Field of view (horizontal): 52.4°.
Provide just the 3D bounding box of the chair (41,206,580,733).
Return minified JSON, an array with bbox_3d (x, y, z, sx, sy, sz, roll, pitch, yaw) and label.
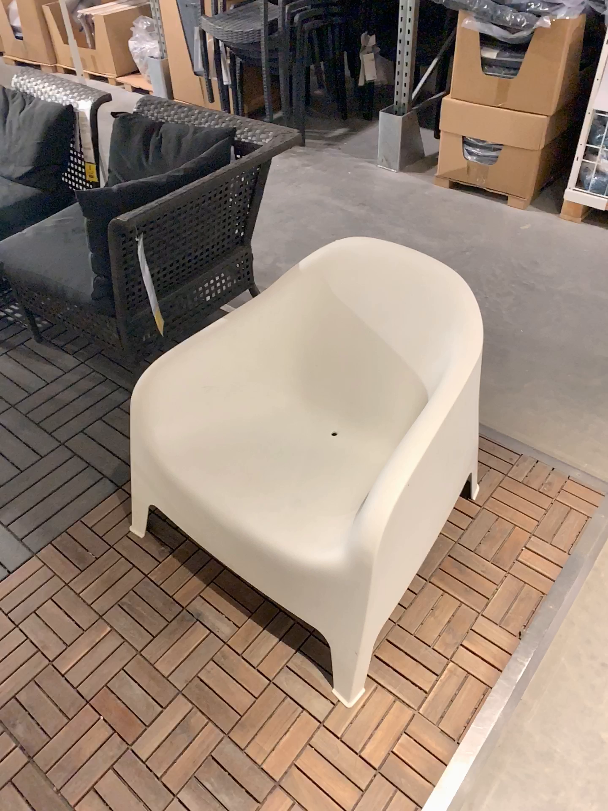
[{"bbox_3d":[0.031,0.073,1.451,0.772,0.637,0.761,29,52,30],"label":"chair"}]
